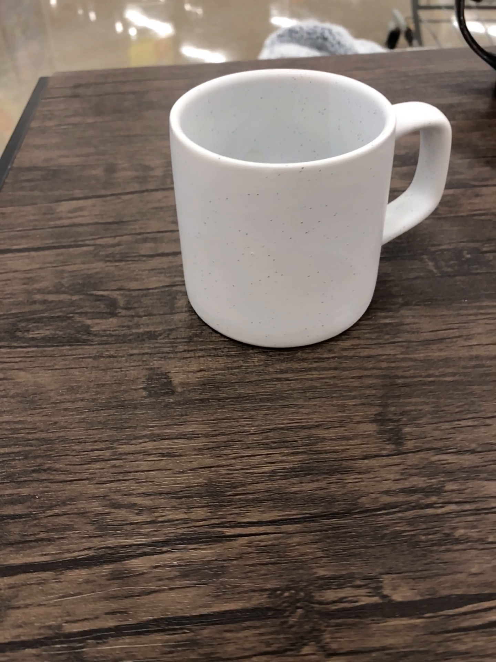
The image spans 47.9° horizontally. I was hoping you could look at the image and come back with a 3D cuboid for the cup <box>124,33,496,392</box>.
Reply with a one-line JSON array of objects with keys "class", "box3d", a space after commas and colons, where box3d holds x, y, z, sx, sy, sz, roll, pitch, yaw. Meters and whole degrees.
[{"class": "cup", "box3d": [0.027, -0.056, 0.250, 0.130, 0.100, 0.090, -16, 46, -14]}]
